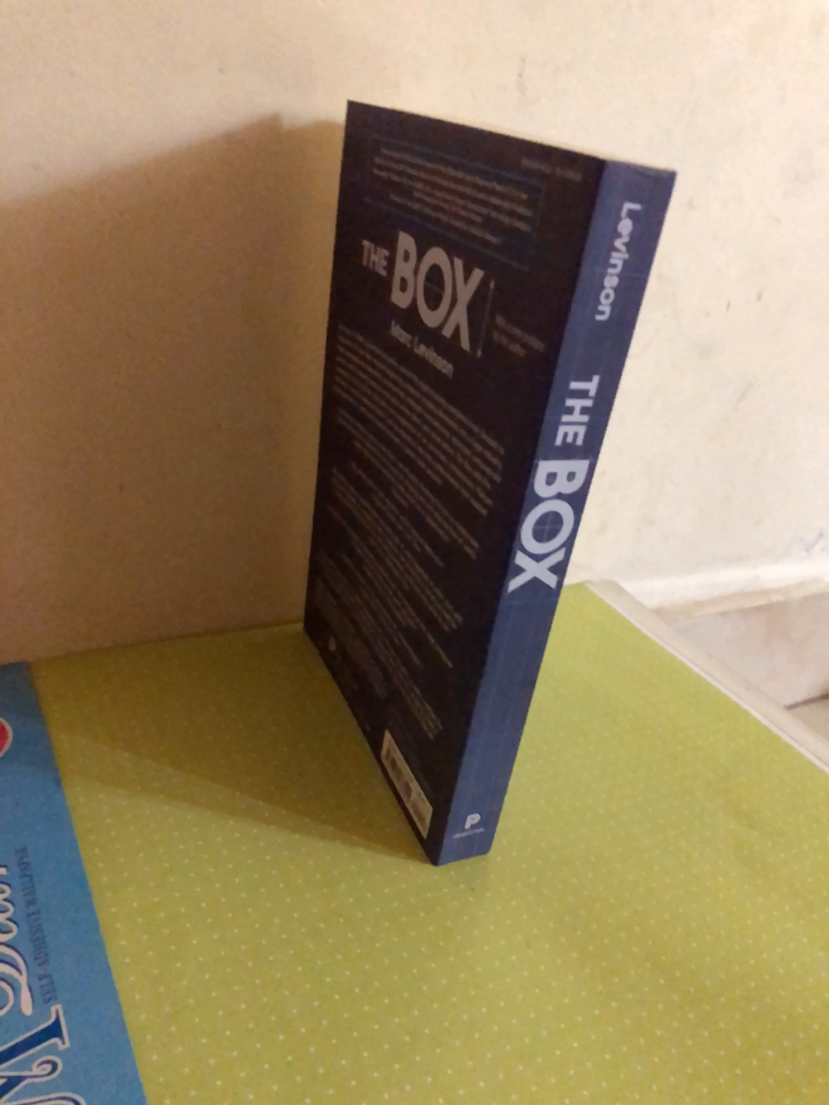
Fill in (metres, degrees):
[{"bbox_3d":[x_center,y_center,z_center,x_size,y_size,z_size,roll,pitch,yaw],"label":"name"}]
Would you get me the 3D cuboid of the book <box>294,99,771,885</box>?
[{"bbox_3d":[0.014,-0.034,0.331,0.050,0.219,0.181,-2,27,-23],"label":"book"}]
